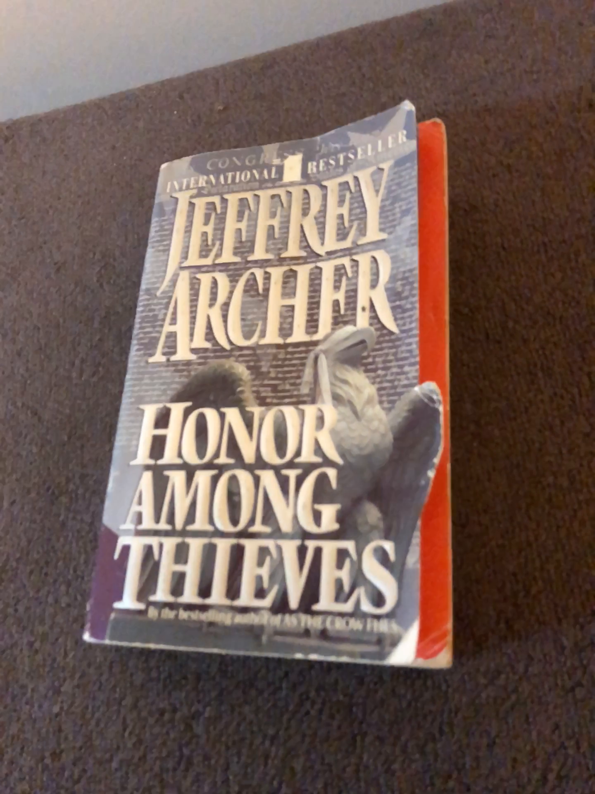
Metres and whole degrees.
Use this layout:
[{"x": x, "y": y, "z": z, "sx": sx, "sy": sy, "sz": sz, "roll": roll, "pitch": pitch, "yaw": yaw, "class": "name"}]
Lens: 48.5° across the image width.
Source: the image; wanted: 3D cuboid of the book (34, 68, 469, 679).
[{"x": -0.005, "y": -0.014, "z": 0.224, "sx": 0.120, "sy": 0.040, "sz": 0.190, "roll": -1, "pitch": 69, "yaw": 16, "class": "book"}]
